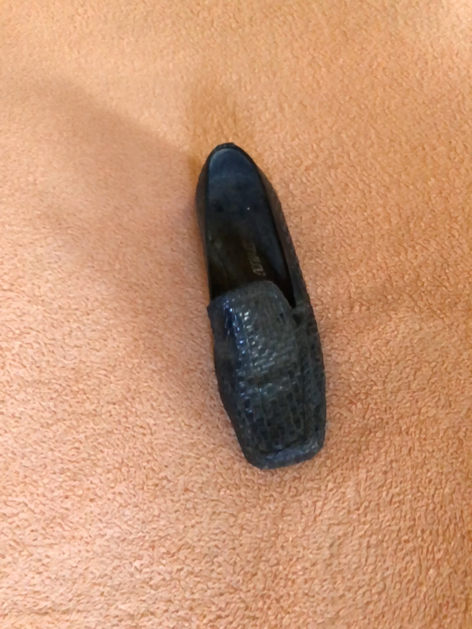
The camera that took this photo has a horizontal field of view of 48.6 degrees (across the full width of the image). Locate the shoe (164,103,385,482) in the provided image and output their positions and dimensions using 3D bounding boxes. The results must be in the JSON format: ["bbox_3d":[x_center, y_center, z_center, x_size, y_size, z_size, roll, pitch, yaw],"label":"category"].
[{"bbox_3d":[0.019,-0.023,0.409,0.100,0.090,0.271,-12,66,0],"label":"shoe"}]
